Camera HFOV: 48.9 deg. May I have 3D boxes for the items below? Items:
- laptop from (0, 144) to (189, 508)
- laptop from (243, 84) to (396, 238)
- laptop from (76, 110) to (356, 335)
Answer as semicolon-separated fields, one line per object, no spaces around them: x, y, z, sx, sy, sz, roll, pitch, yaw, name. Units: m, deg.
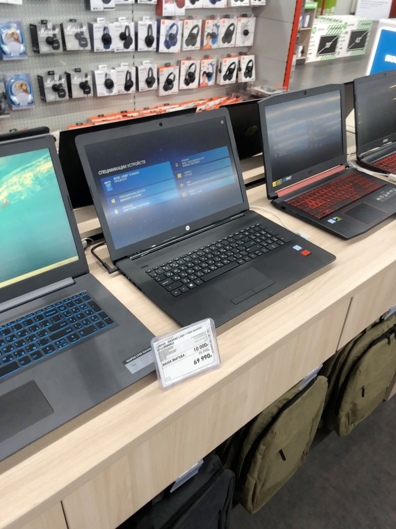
-0.297;0.023;0.600;0.381;0.226;0.373;-24;45;-39;laptop
0.397;-0.296;1.161;0.404;0.223;0.303;-27;49;-37;laptop
0.029;-0.127;0.886;0.389;0.213;0.373;-25;45;-36;laptop
